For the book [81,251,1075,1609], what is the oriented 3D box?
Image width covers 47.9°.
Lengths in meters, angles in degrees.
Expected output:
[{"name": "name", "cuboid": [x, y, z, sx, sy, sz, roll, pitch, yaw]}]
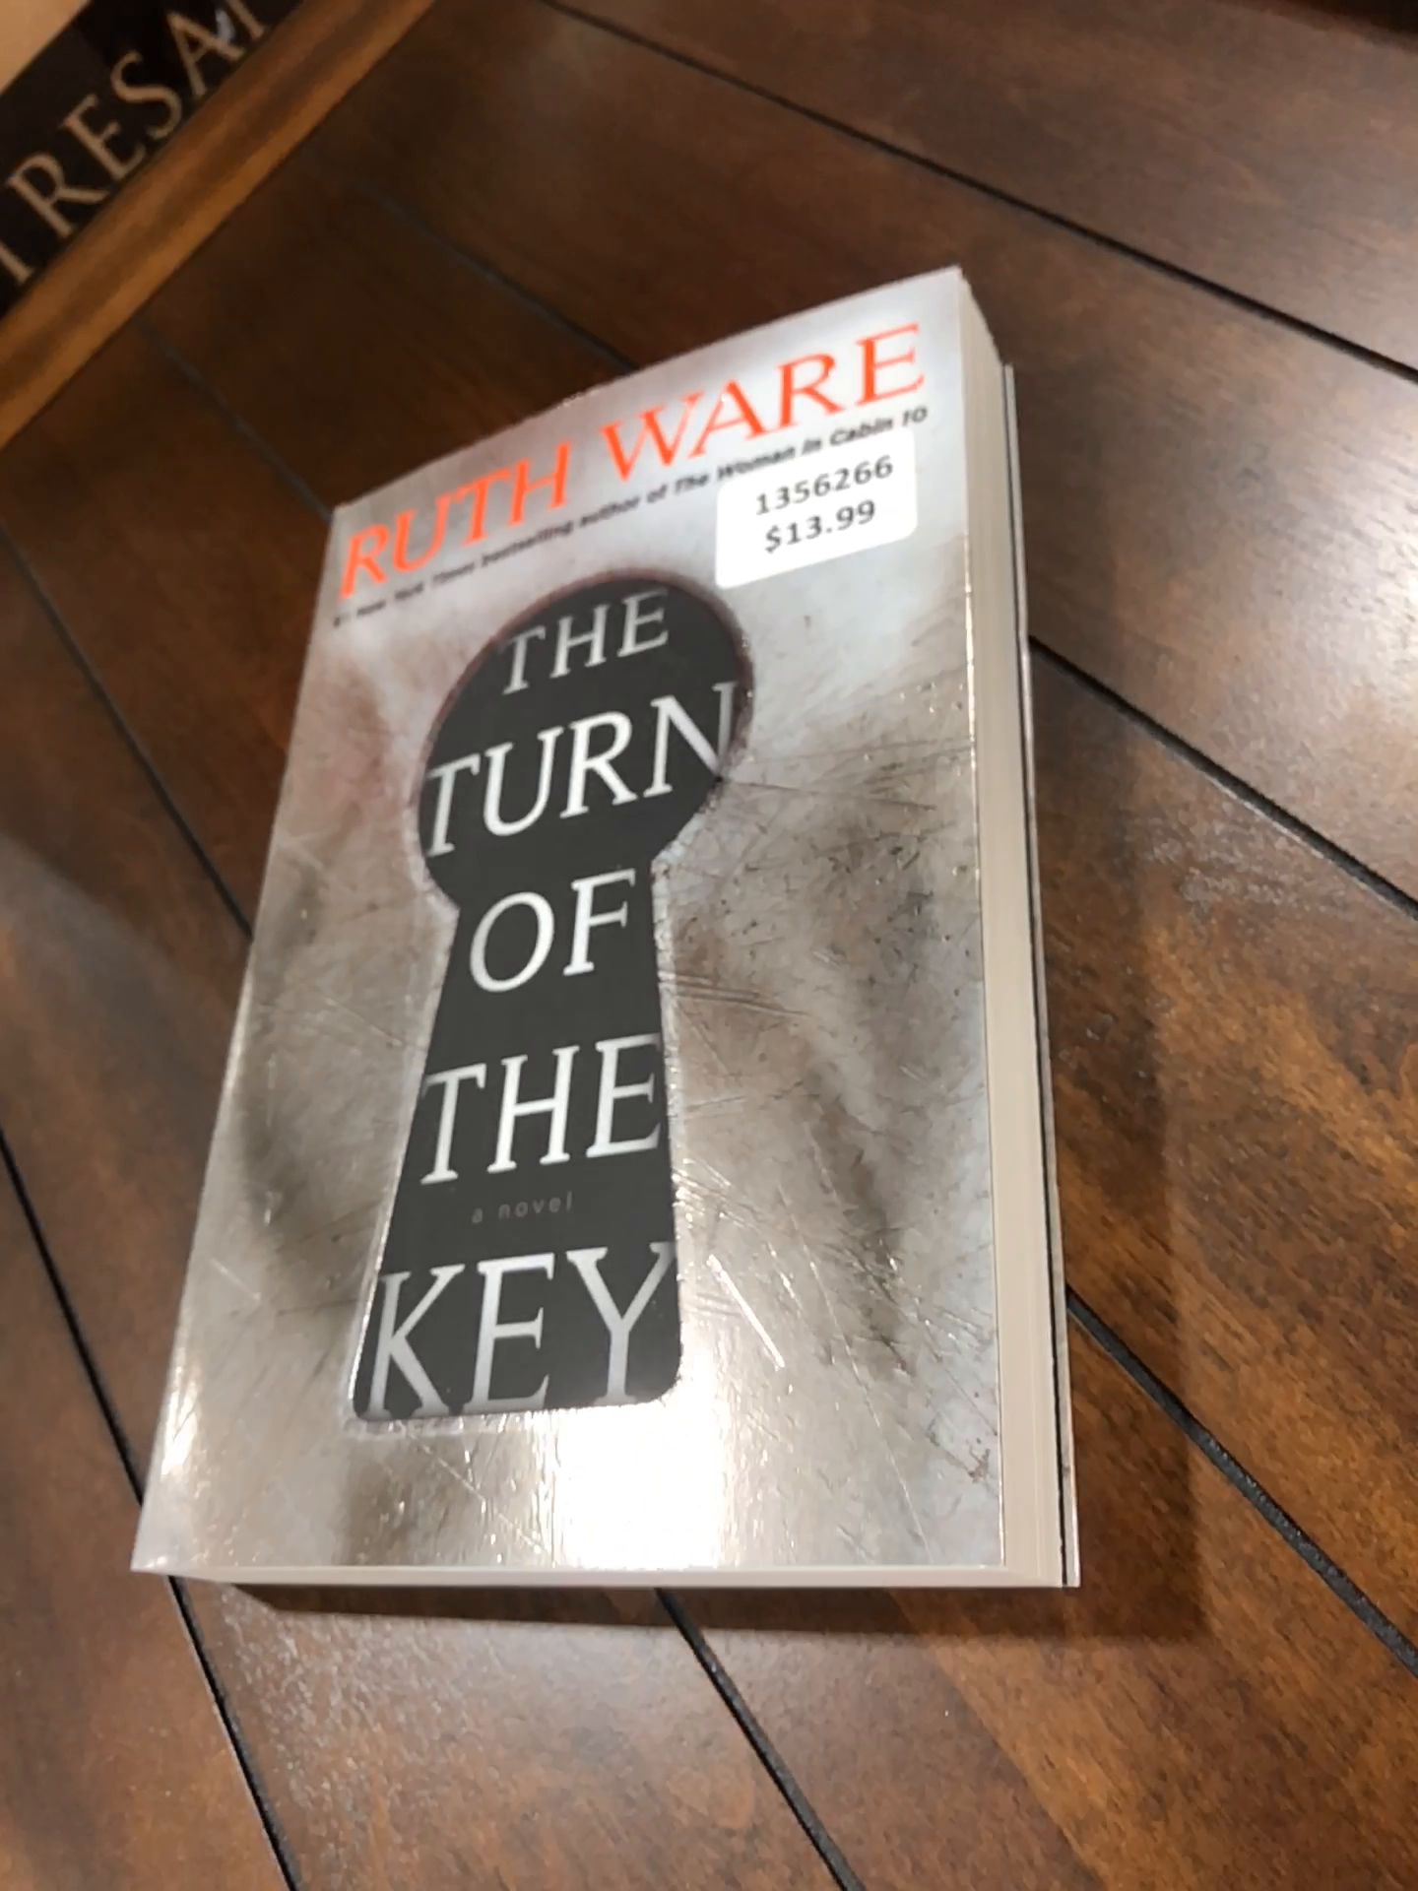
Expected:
[{"name": "book", "cuboid": [-0.022, -0.007, 0.292, 0.158, 0.028, 0.233, -11, 60, 26]}]
